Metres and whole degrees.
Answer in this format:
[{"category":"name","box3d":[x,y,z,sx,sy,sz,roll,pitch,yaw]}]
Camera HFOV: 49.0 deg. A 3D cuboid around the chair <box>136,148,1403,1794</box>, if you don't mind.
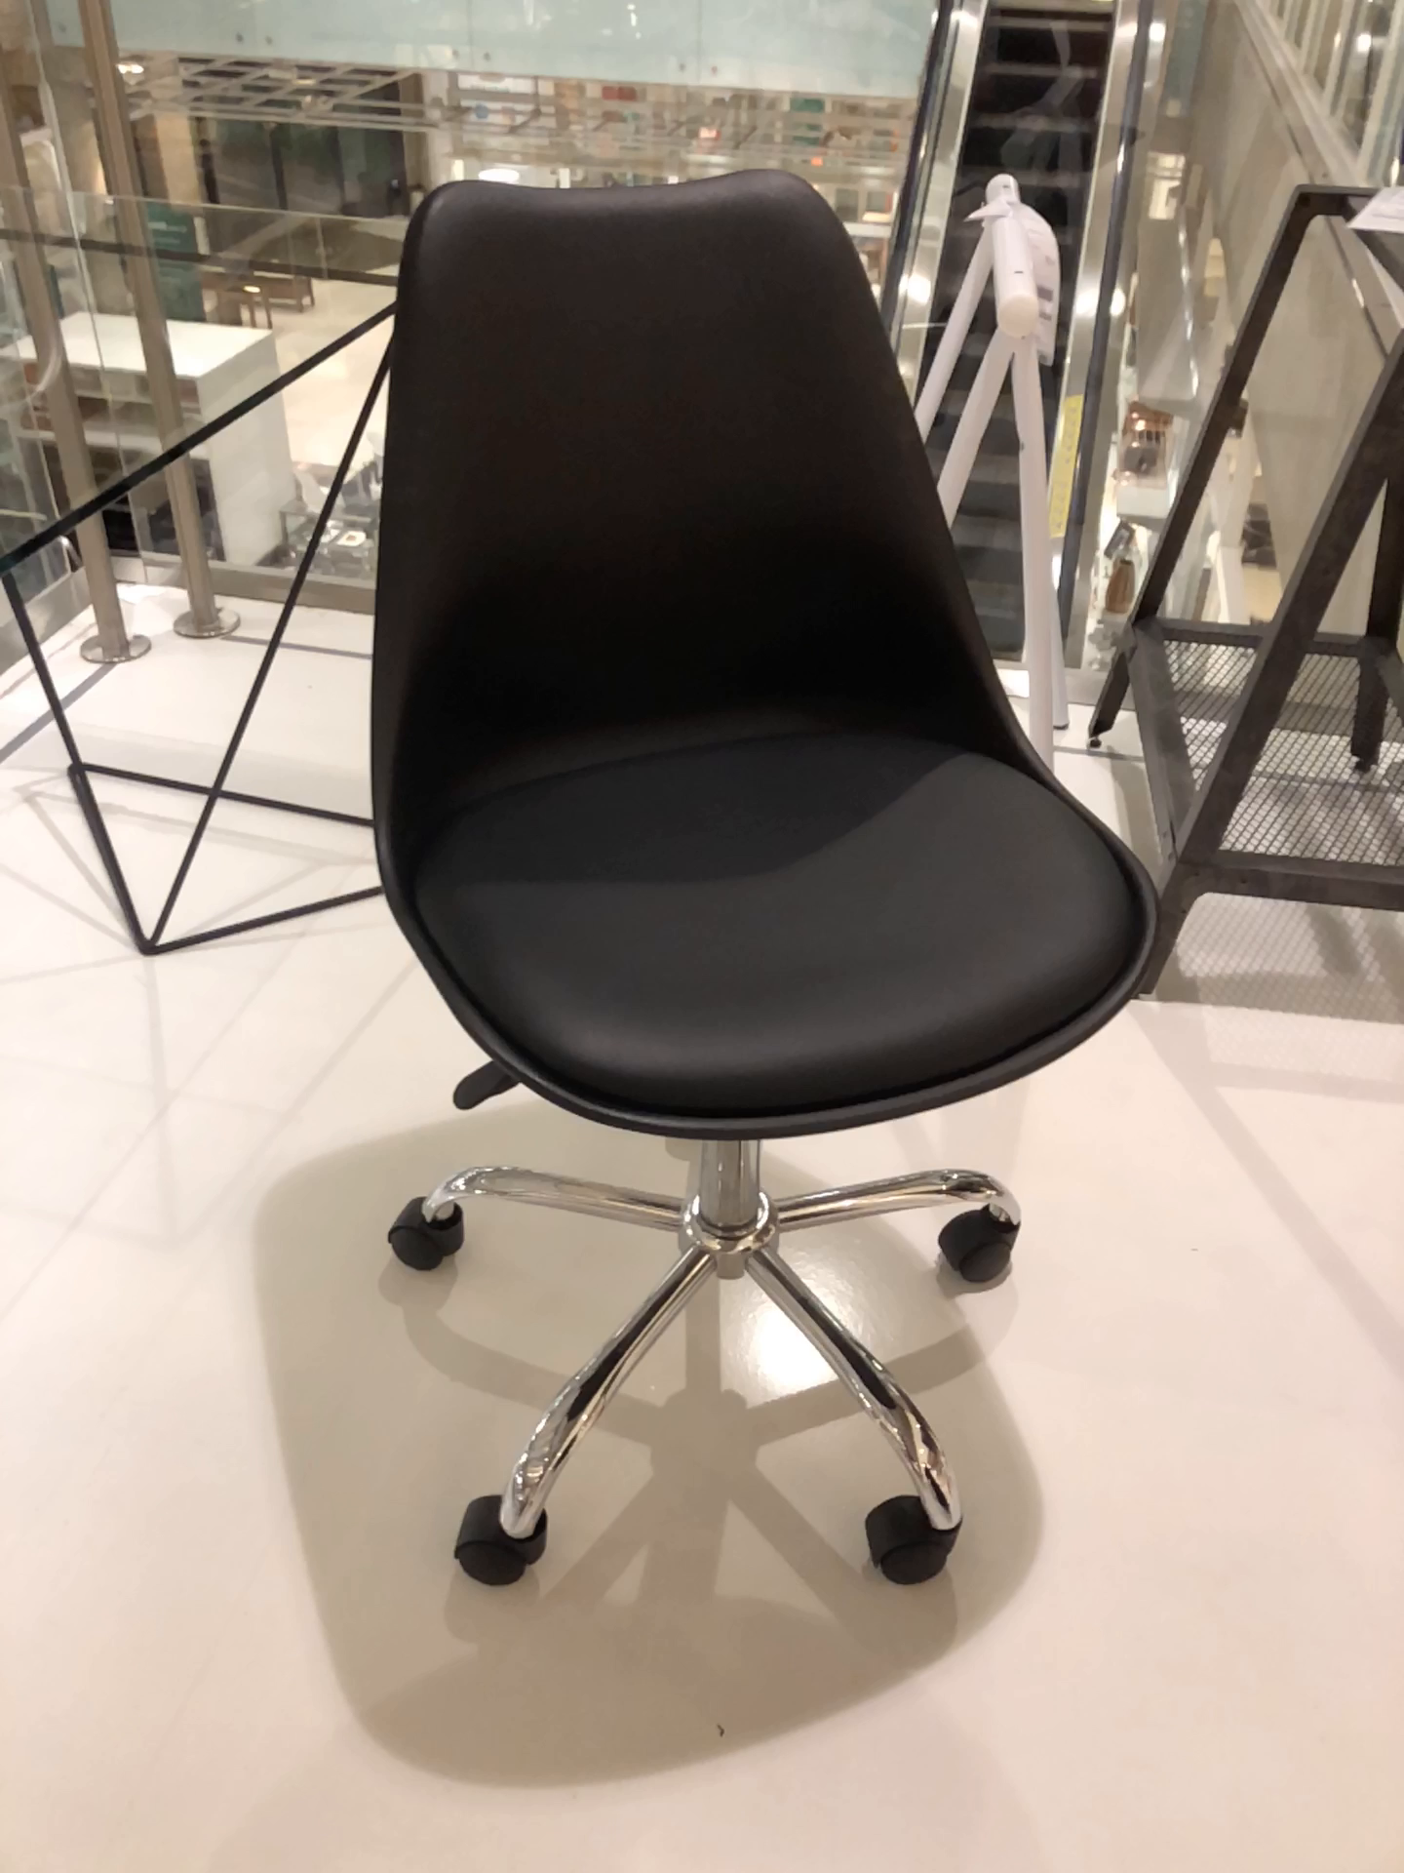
[{"category":"chair","box3d":[0.040,-0.024,1.077,0.631,0.824,0.634,-12,38,-17]}]
